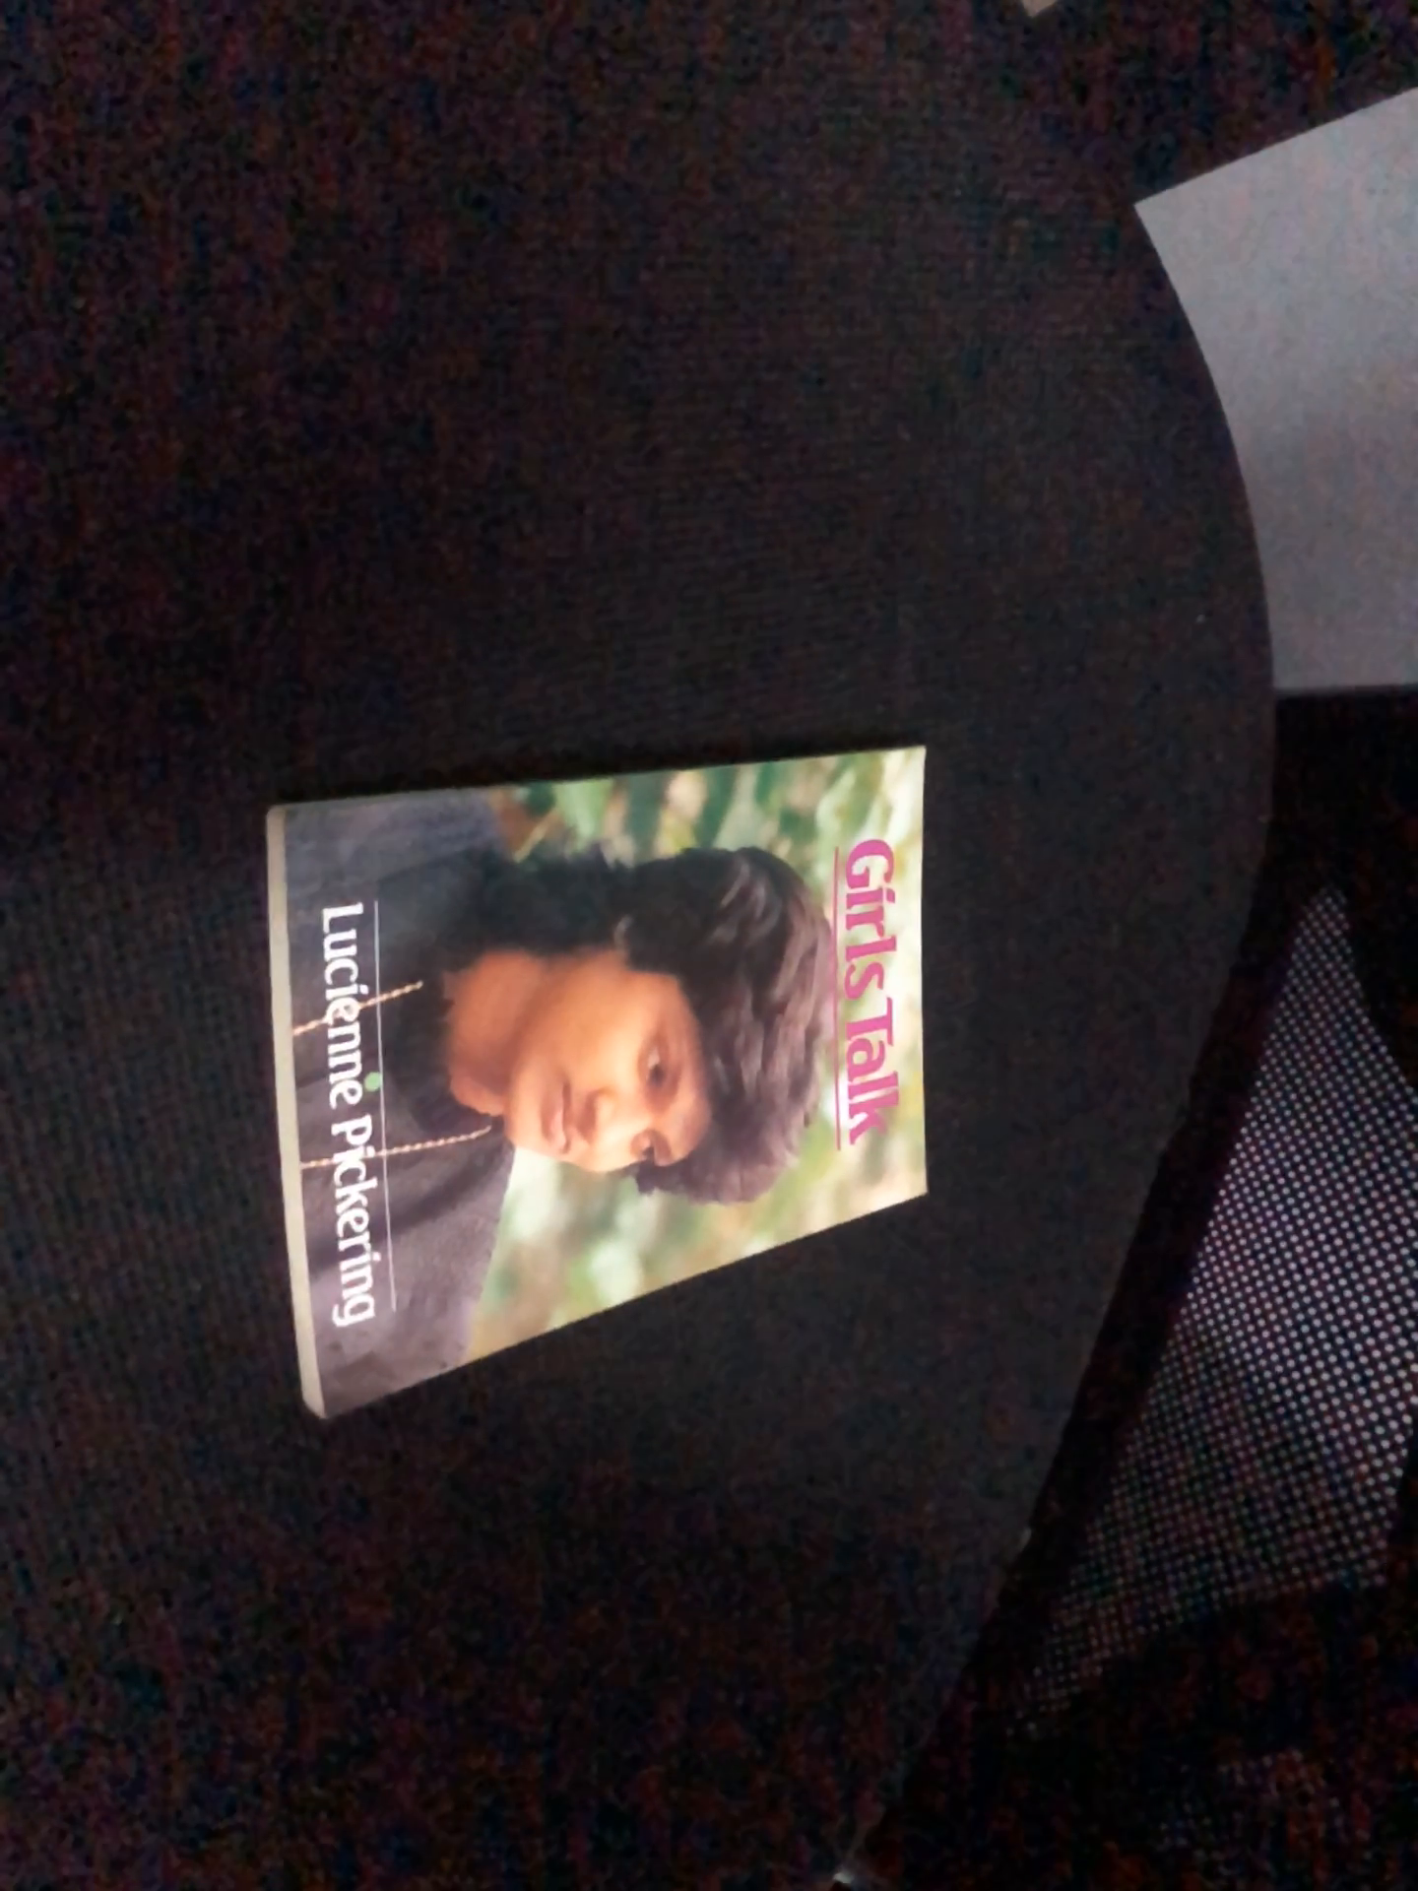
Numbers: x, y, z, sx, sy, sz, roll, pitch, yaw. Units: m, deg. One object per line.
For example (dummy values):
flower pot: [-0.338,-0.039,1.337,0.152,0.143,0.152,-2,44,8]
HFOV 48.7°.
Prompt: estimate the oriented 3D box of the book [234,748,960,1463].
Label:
book: [-0.010,0.025,0.368,0.201,0.010,0.130,-10,104,-41]
